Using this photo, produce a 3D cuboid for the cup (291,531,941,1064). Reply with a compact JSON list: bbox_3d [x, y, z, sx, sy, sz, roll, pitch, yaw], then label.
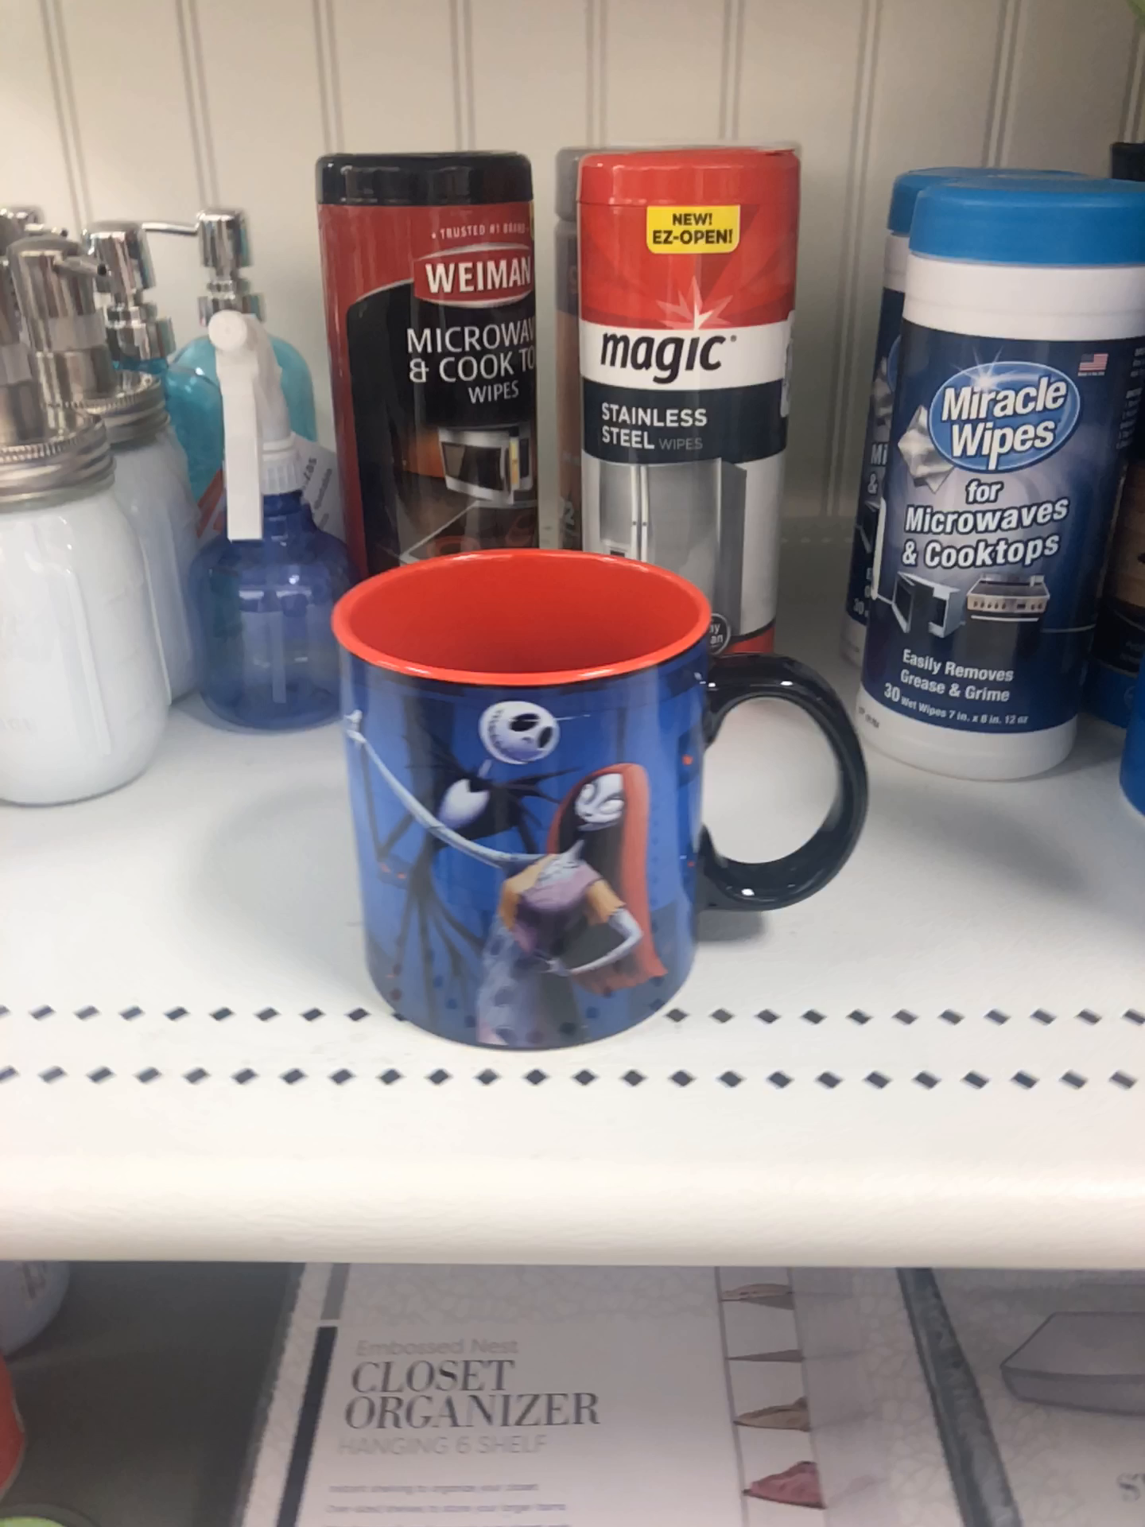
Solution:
[{"bbox_3d":[0.007,0.003,0.359,0.147,0.103,0.113,-2,26,-4],"label":"cup"}]
